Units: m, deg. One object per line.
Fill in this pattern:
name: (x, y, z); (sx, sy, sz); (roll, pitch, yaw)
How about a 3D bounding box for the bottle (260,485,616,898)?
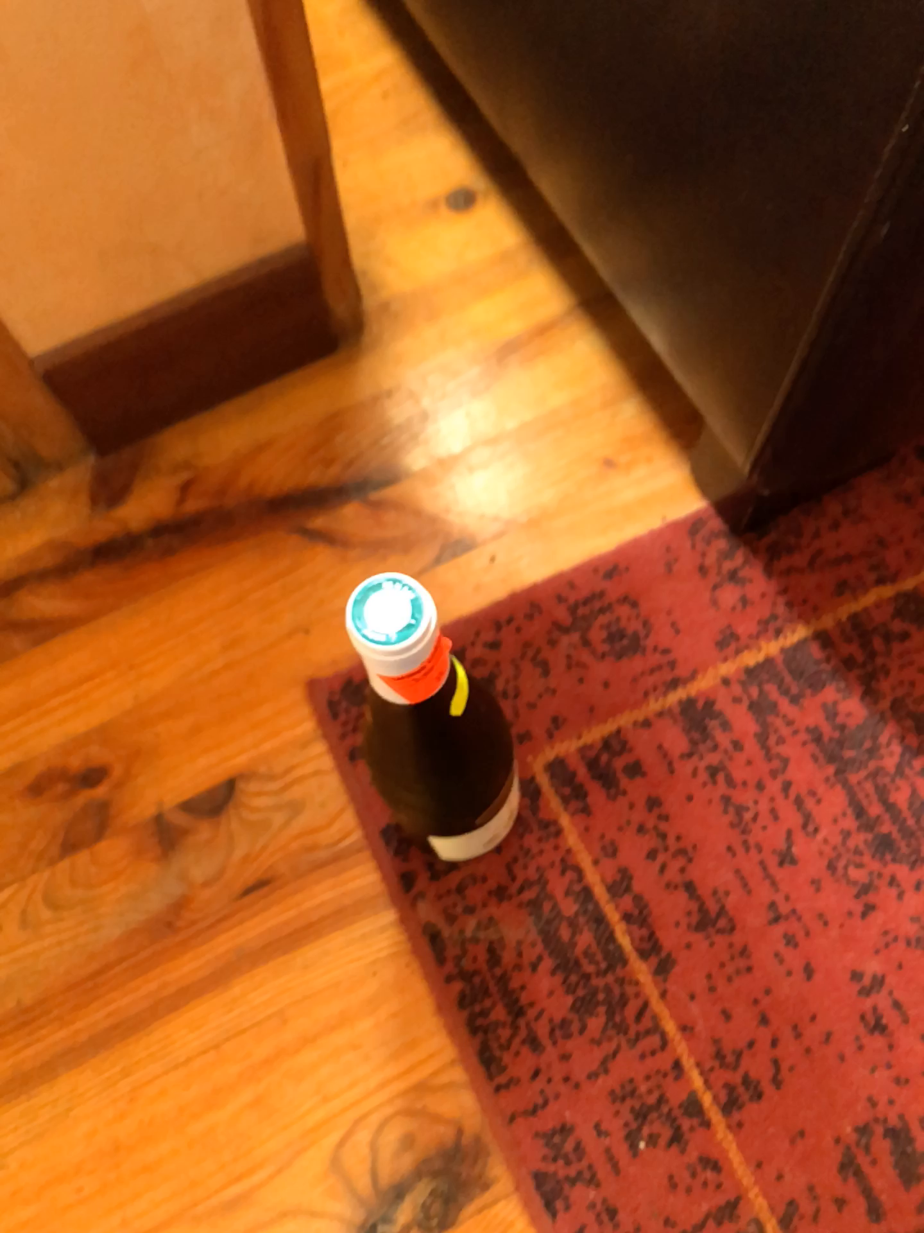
bottle: (-0.001, 0.057, 0.445); (0.080, 0.299, 0.080); (-1, 71, 2)
